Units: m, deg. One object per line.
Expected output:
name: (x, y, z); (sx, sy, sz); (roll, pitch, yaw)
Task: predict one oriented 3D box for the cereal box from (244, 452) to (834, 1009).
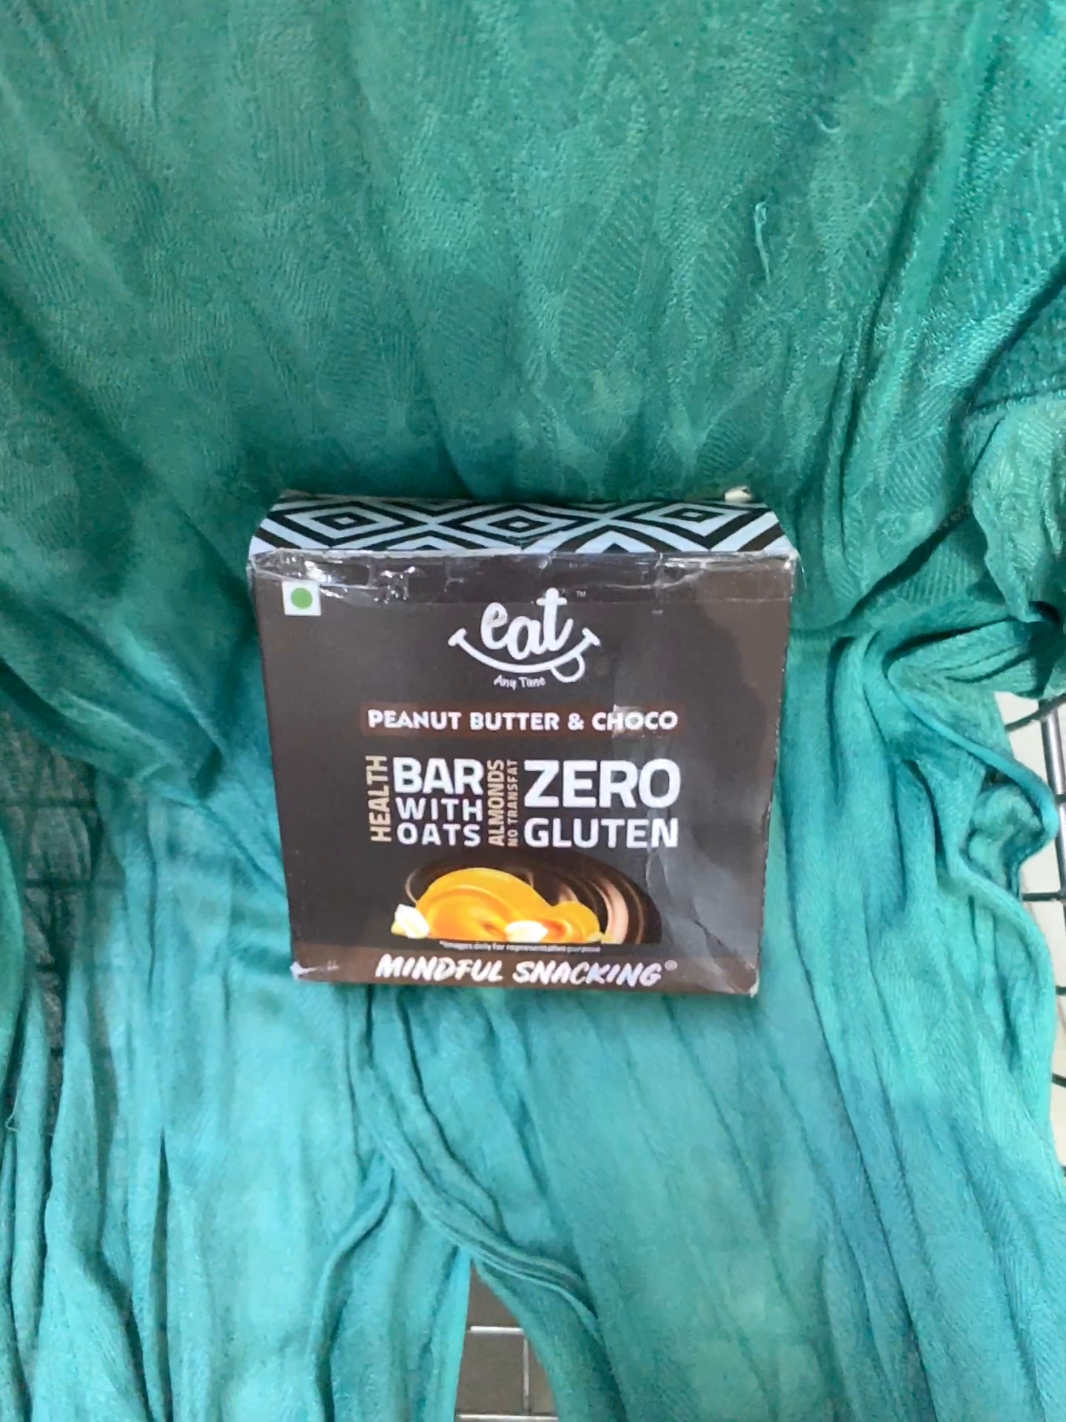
cereal box: (0.002, 0.001, 0.329); (0.140, 0.090, 0.140); (1, 111, 2)
